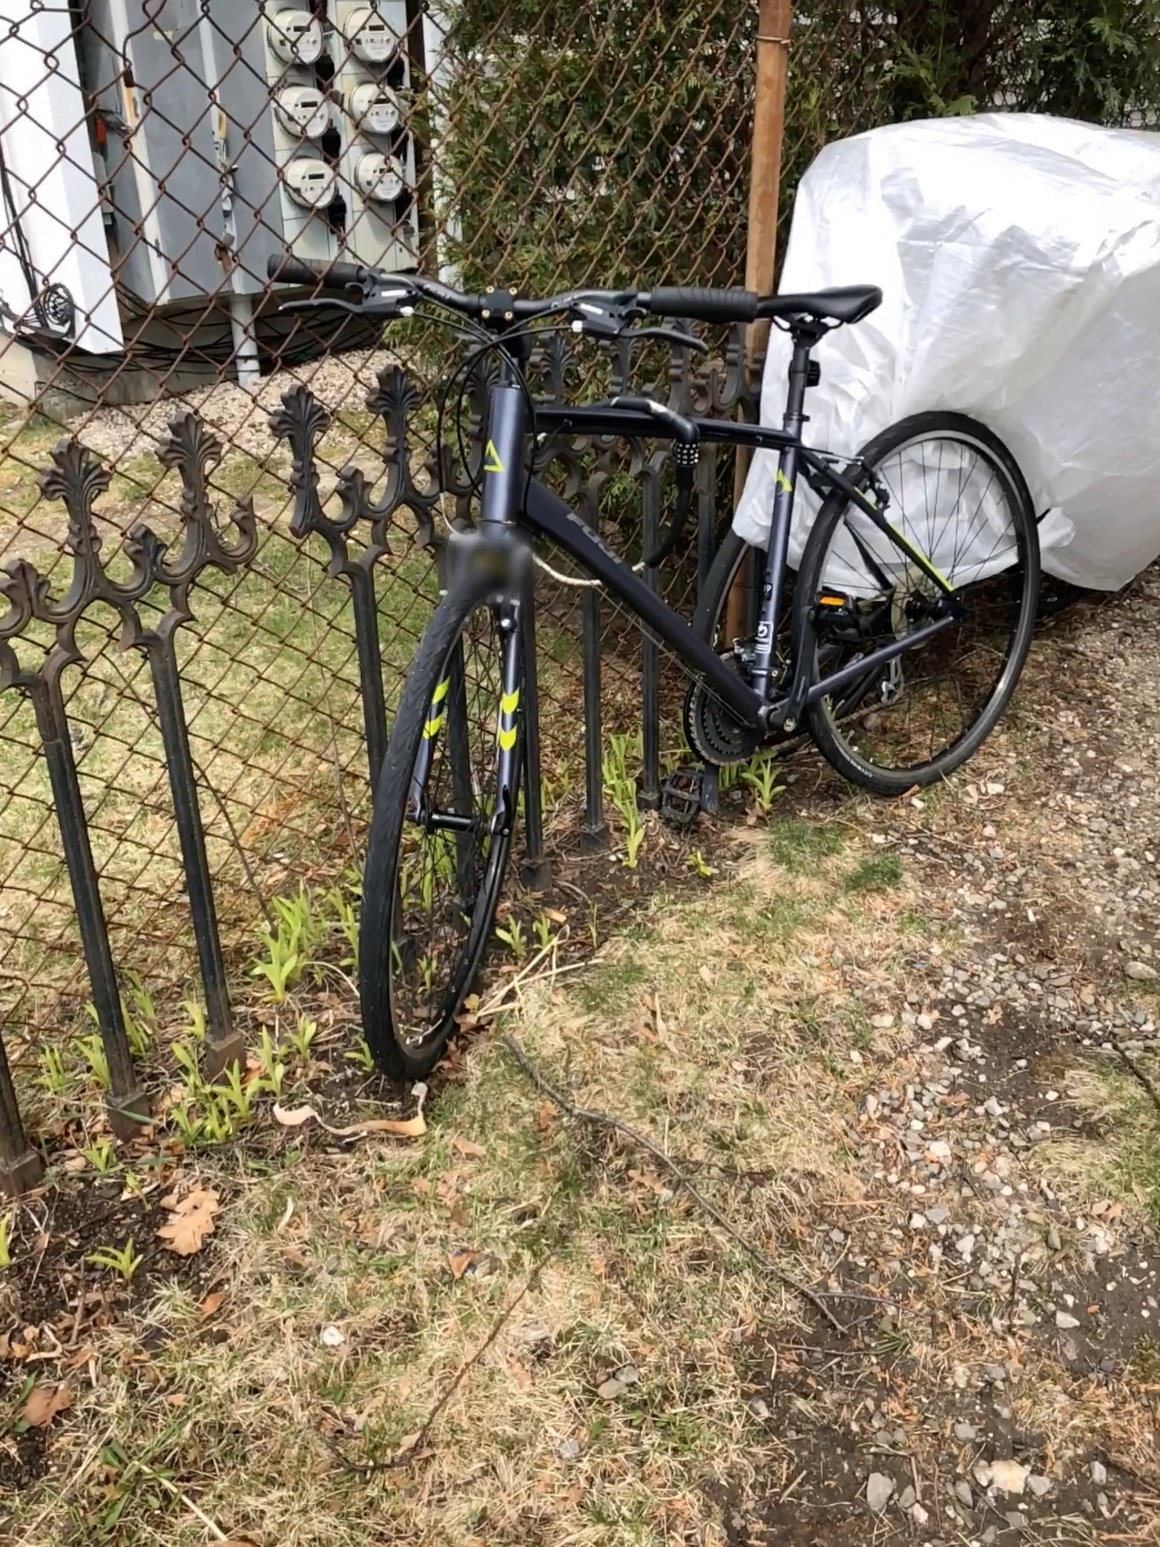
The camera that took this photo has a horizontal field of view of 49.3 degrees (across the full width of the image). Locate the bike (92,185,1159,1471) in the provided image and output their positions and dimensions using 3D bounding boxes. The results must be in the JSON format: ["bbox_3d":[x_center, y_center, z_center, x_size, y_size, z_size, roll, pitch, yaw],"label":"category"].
[{"bbox_3d":[0.357,-0.257,2.221,0.678,1.347,2.204,21,33,30],"label":"bike"}]
